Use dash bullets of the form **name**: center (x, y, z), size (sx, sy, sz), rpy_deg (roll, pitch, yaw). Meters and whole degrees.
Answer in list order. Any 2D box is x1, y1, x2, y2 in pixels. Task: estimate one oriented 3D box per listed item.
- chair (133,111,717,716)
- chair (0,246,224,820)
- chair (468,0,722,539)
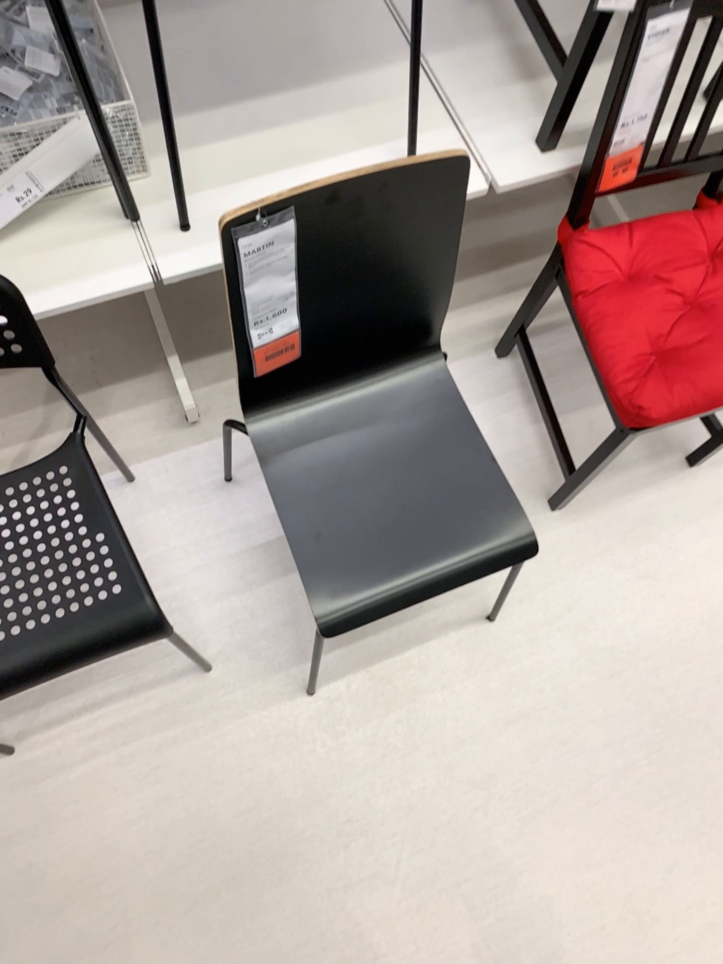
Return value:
- **chair**: center (0.022, -0.013, 1.227), size (0.480, 0.829, 0.590), rpy_deg (-19, 72, -12)
- **chair**: center (-0.563, 0.136, 1.151), size (0.470, 0.729, 0.530), rpy_deg (-20, 72, -12)
- **chair**: center (0.584, -0.310, 1.306), size (0.450, 0.859, 0.480), rpy_deg (-18, 72, -12)
